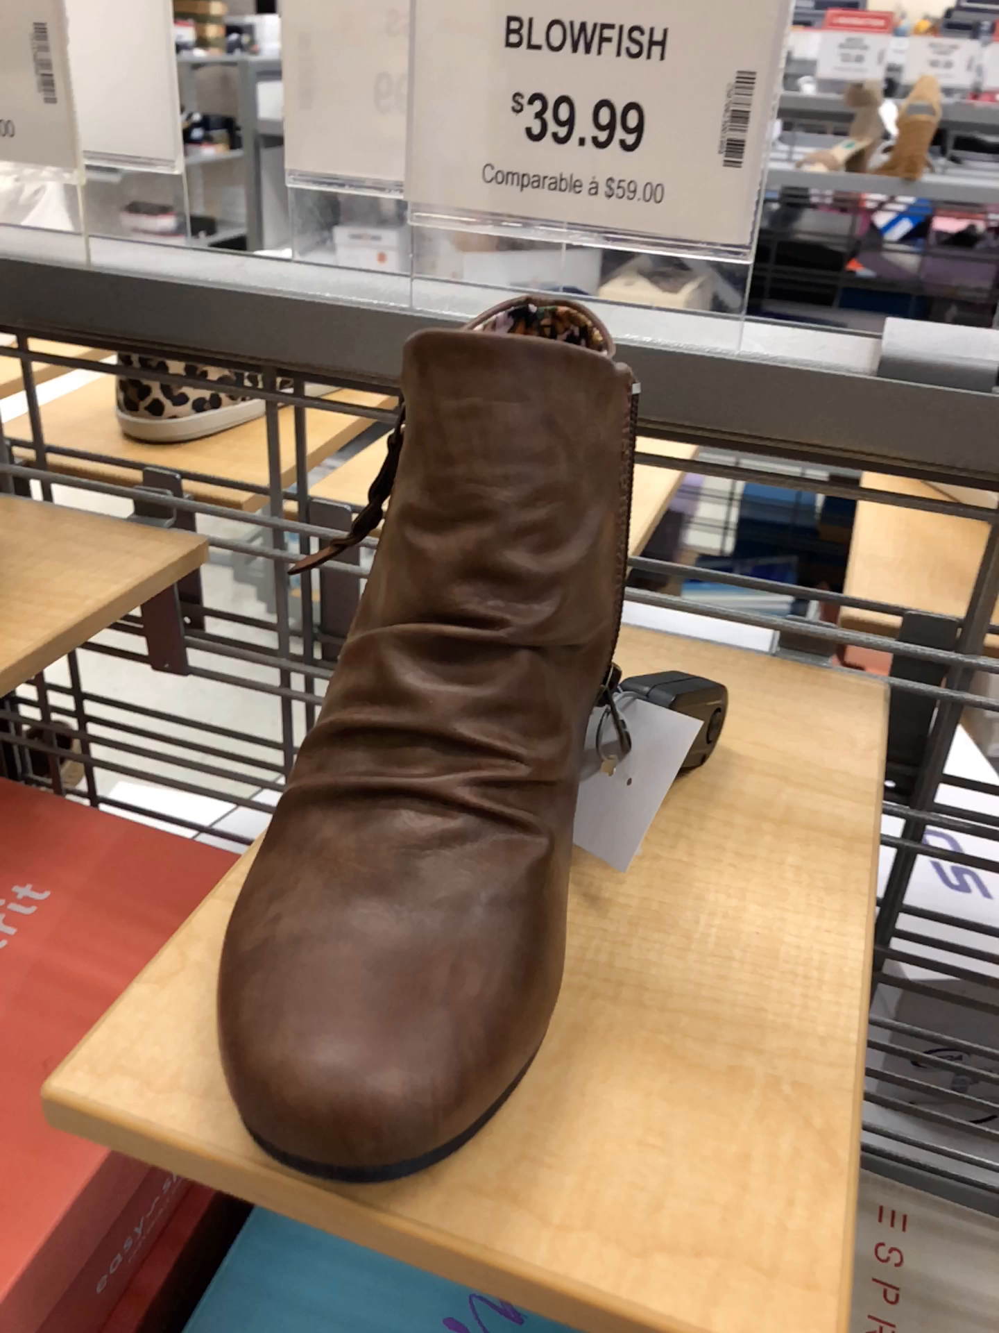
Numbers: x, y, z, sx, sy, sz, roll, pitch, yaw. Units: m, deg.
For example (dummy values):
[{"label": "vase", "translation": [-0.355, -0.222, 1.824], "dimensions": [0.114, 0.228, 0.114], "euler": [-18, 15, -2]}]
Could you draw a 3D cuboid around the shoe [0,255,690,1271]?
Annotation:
[{"label": "shoe", "translation": [-0.017, -0.008, 0.282], "dimensions": [0.090, 0.139, 0.232], "euler": [10, 30, 10]}]
